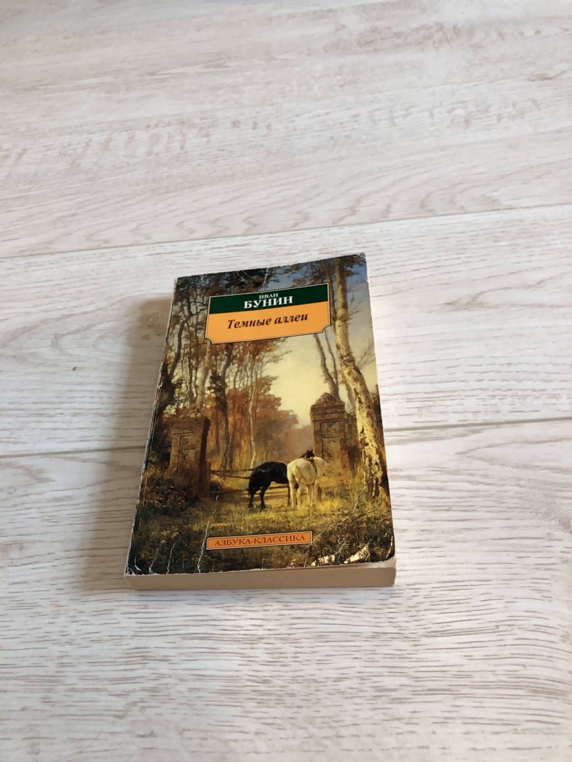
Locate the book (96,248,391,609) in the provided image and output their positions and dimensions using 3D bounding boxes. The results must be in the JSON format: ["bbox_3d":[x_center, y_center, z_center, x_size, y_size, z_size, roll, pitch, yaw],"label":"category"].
[{"bbox_3d":[-0.016,0.012,0.301,0.112,0.024,0.177,-5,52,7],"label":"book"}]
